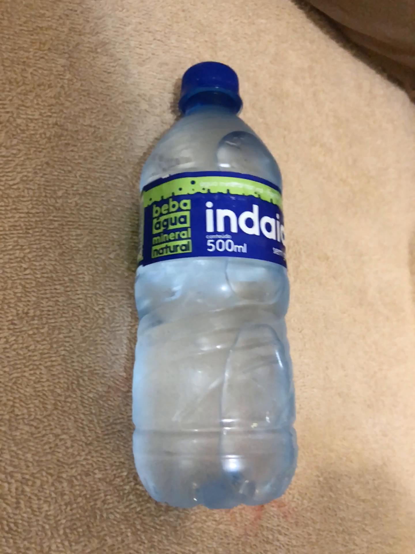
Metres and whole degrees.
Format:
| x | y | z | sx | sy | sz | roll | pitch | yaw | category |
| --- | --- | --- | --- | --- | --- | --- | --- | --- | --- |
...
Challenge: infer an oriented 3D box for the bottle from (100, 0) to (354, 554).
| x | y | z | sx | sy | sz | roll | pitch | yaw | category |
| --- | --- | --- | --- | --- | --- | --- | --- | --- | --- |
| 0.003 | -0.008 | 0.200 | 0.080 | 0.050 | 0.210 | 6 | 73 | -36 | bottle |
